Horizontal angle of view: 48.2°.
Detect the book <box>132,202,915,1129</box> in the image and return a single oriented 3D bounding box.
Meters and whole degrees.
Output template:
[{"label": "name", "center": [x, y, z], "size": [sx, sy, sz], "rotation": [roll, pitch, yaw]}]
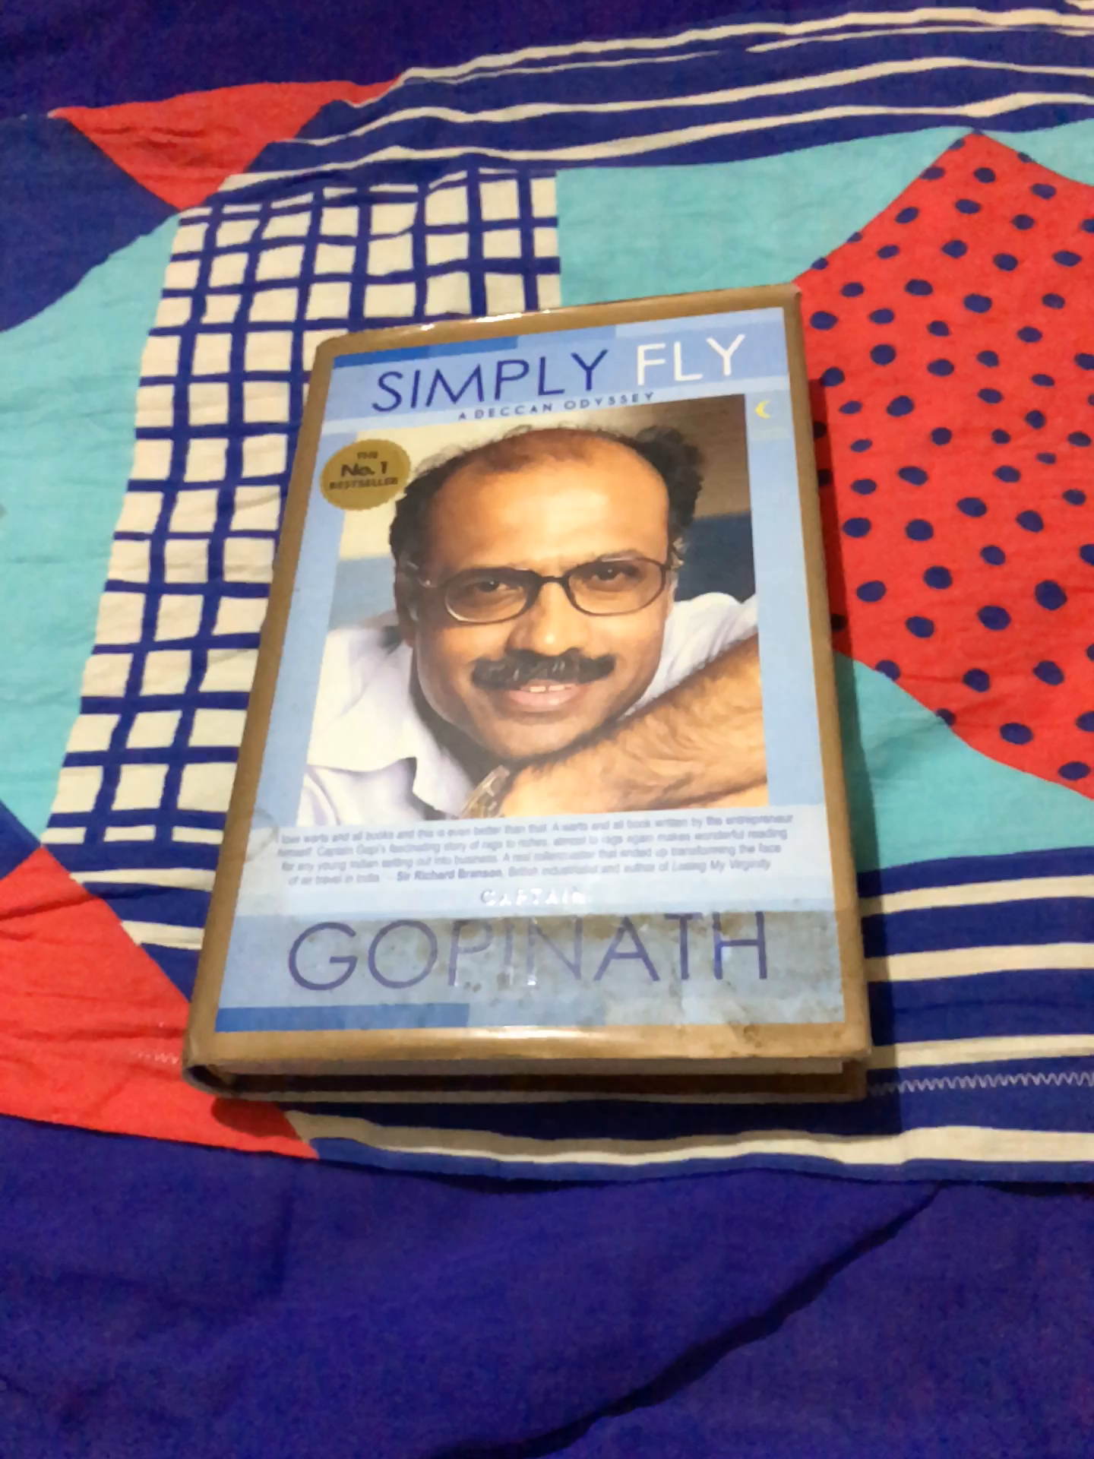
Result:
[{"label": "book", "center": [-0.001, -0.027, 0.328], "size": [0.160, 0.050, 0.250], "rotation": [-3, 61, 8]}]
